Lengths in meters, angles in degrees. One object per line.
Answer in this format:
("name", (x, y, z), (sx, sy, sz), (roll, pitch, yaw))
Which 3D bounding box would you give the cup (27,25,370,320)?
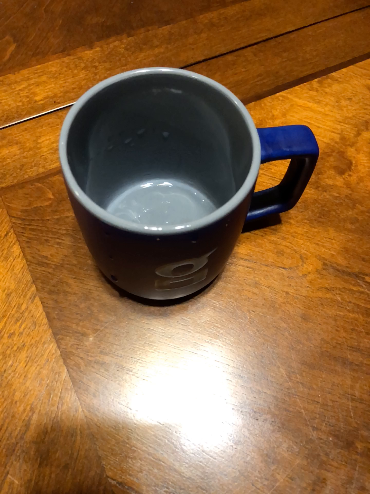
("cup", (0.003, -0.036, 0.228), (0.140, 0.100, 0.100), (-12, 67, -9))

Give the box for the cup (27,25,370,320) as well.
("cup", (0.003, -0.036, 0.228), (0.140, 0.100, 0.100), (-12, 67, -9))
